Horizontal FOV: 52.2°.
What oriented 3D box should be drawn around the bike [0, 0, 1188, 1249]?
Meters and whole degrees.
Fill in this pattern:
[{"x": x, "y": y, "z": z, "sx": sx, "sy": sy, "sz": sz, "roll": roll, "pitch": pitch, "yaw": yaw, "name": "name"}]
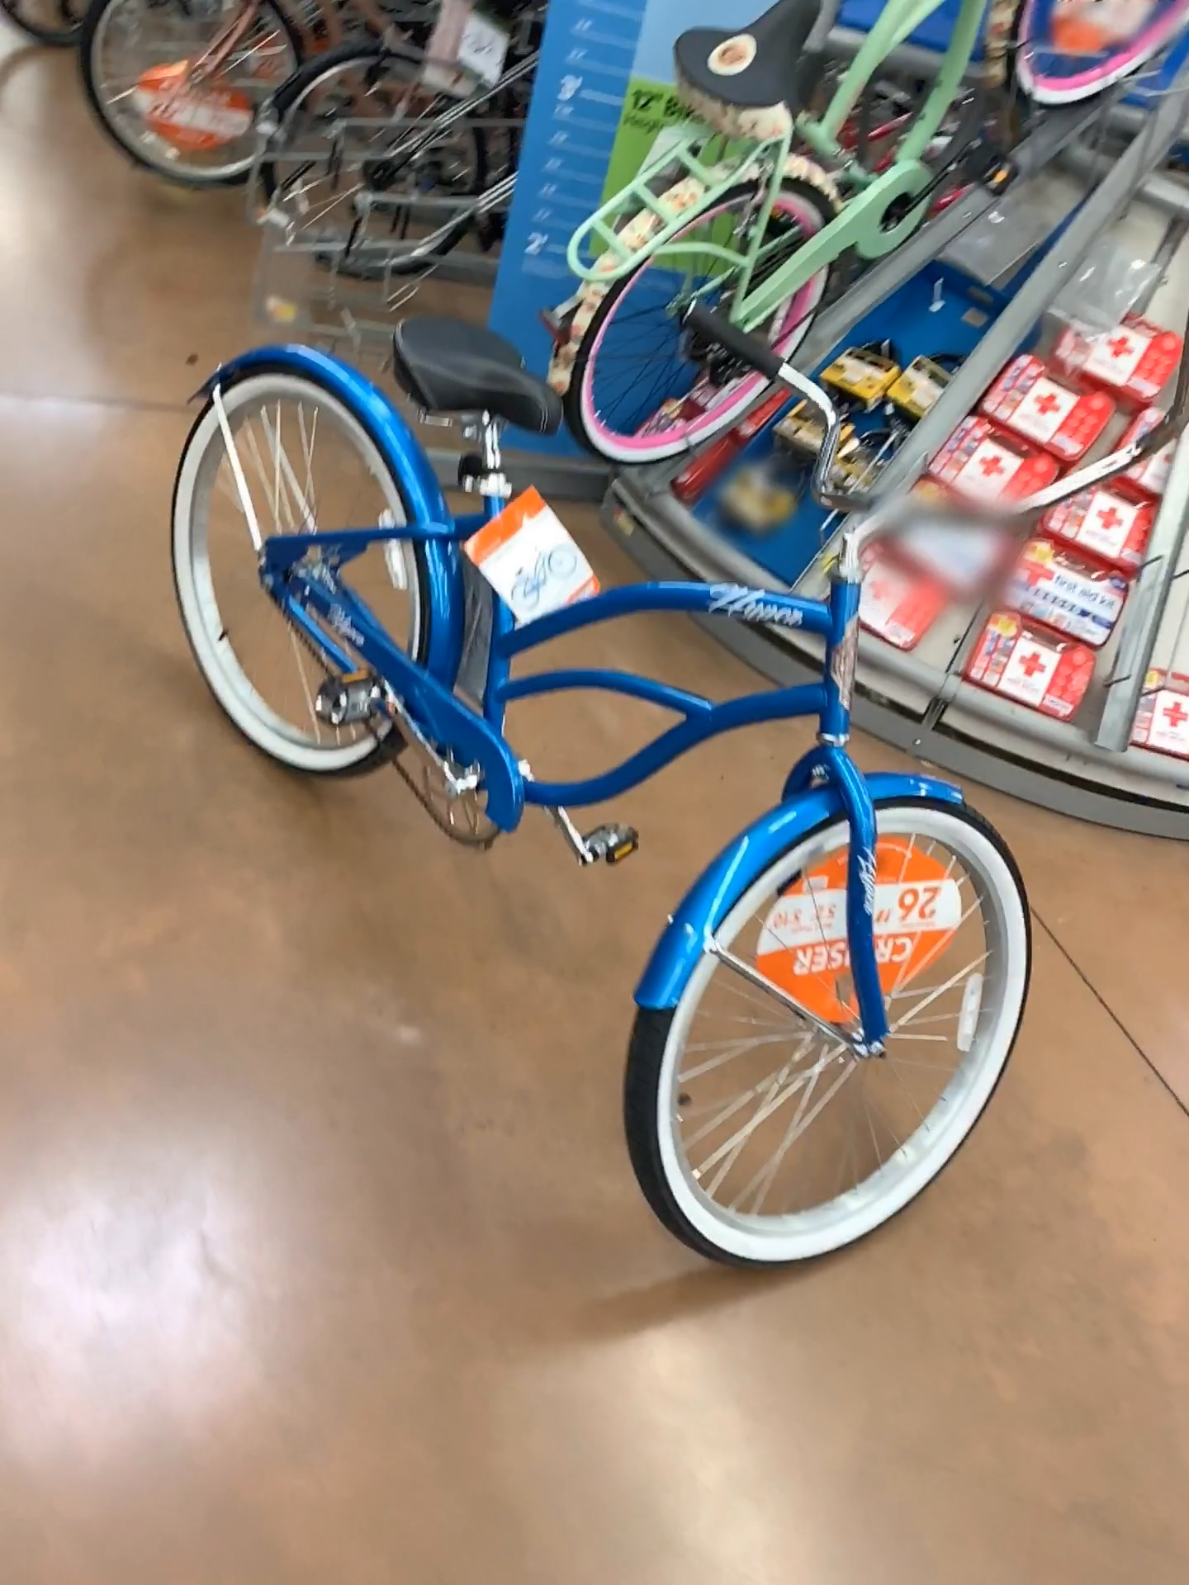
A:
[{"x": 0.040, "y": -0.379, "z": 1.733, "sx": 1.530, "sy": 1.208, "sz": 0.877, "roll": 33, "pitch": 41, "yaw": 15, "name": "bike"}]
